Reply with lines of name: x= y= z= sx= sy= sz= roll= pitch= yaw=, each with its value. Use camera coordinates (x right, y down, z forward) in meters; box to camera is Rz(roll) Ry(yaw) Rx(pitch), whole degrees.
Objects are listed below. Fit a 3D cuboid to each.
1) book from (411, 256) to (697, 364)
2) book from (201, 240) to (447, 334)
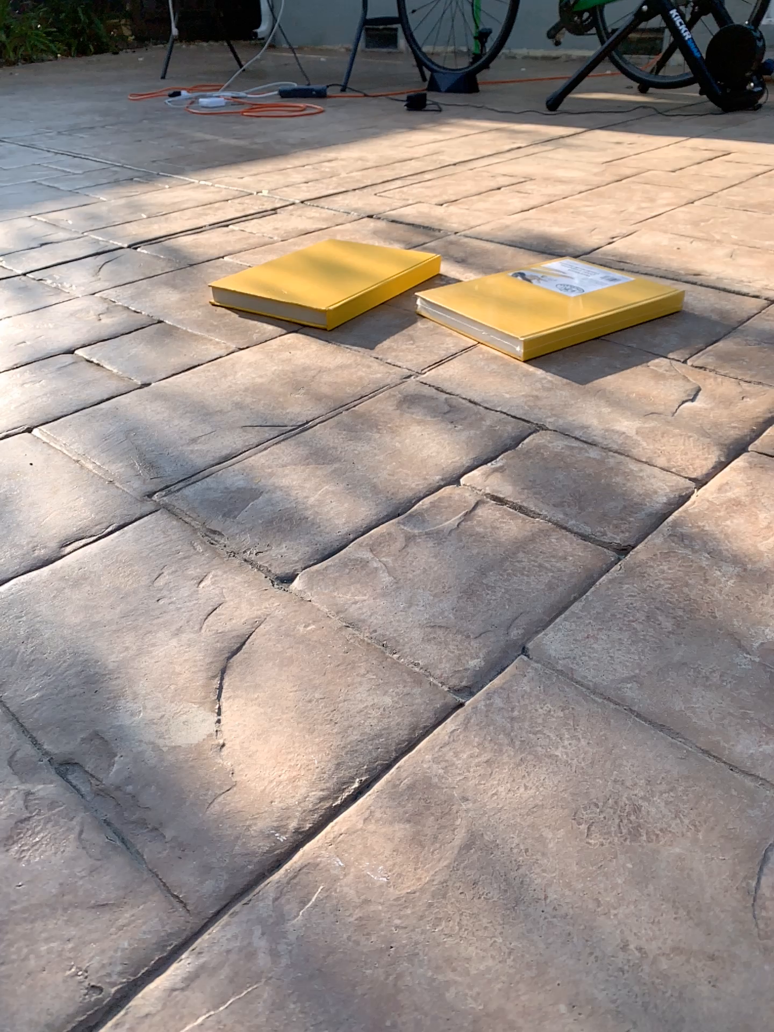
book: x=0.222 y=-0.287 z=1.070 sx=0.300 sy=0.030 sz=0.231 roll=-20 pitch=37 yaw=-28
book: x=-0.086 y=-0.355 z=1.199 sx=0.231 sy=0.030 sz=0.311 roll=18 pitch=37 yaw=28
